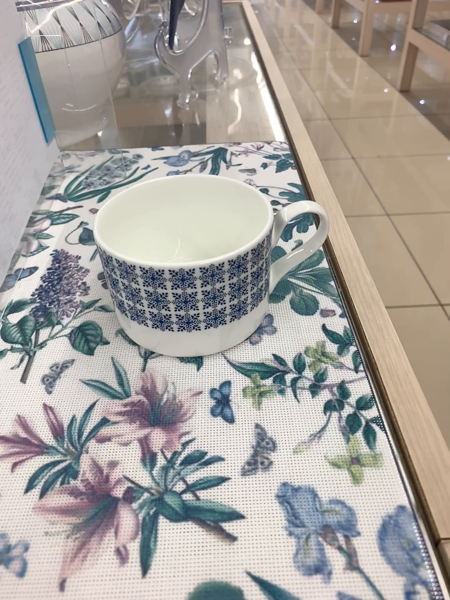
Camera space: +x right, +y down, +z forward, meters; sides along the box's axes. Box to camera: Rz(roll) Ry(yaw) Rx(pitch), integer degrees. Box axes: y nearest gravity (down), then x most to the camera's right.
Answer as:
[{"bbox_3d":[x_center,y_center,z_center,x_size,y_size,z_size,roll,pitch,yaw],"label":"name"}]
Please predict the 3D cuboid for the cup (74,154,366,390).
[{"bbox_3d":[-0.008,-0.021,0.242,0.120,0.060,0.090,-12,41,-11],"label":"cup"}]
